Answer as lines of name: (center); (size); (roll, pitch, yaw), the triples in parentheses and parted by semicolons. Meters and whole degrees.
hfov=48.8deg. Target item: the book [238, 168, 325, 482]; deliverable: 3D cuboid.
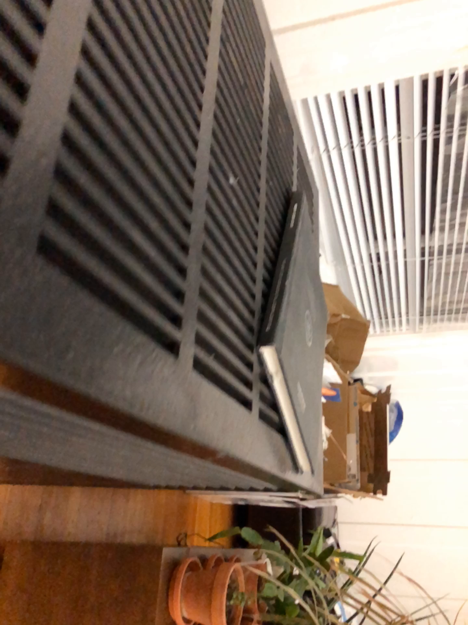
book: (0.056, -0.001, 0.474); (0.251, 0.020, 0.160); (-75, 153, -47)
